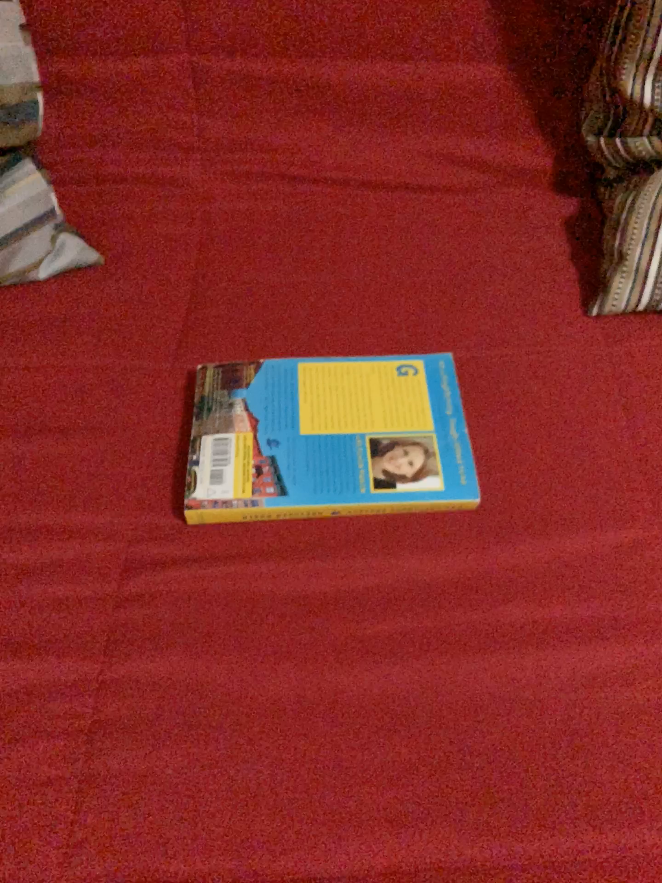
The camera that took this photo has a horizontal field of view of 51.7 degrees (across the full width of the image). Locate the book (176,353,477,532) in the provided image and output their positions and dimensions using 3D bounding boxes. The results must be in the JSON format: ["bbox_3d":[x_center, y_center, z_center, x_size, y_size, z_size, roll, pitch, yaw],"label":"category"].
[{"bbox_3d":[-0.005,-0.003,0.510,0.202,0.033,0.133,-2,54,-1],"label":"book"}]
